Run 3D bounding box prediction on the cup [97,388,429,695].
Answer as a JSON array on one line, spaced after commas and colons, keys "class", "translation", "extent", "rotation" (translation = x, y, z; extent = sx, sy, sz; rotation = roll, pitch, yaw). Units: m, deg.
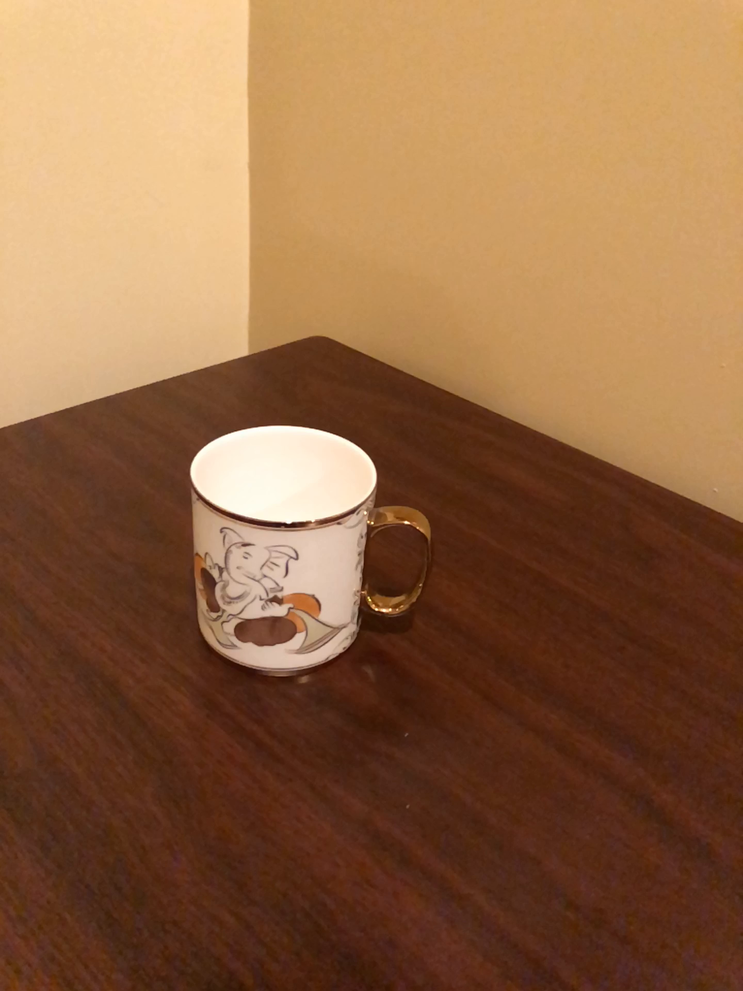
[{"class": "cup", "translation": [-0.049, 0.020, 0.423], "extent": [0.140, 0.099, 0.101], "rotation": [8, 32, 3]}]
